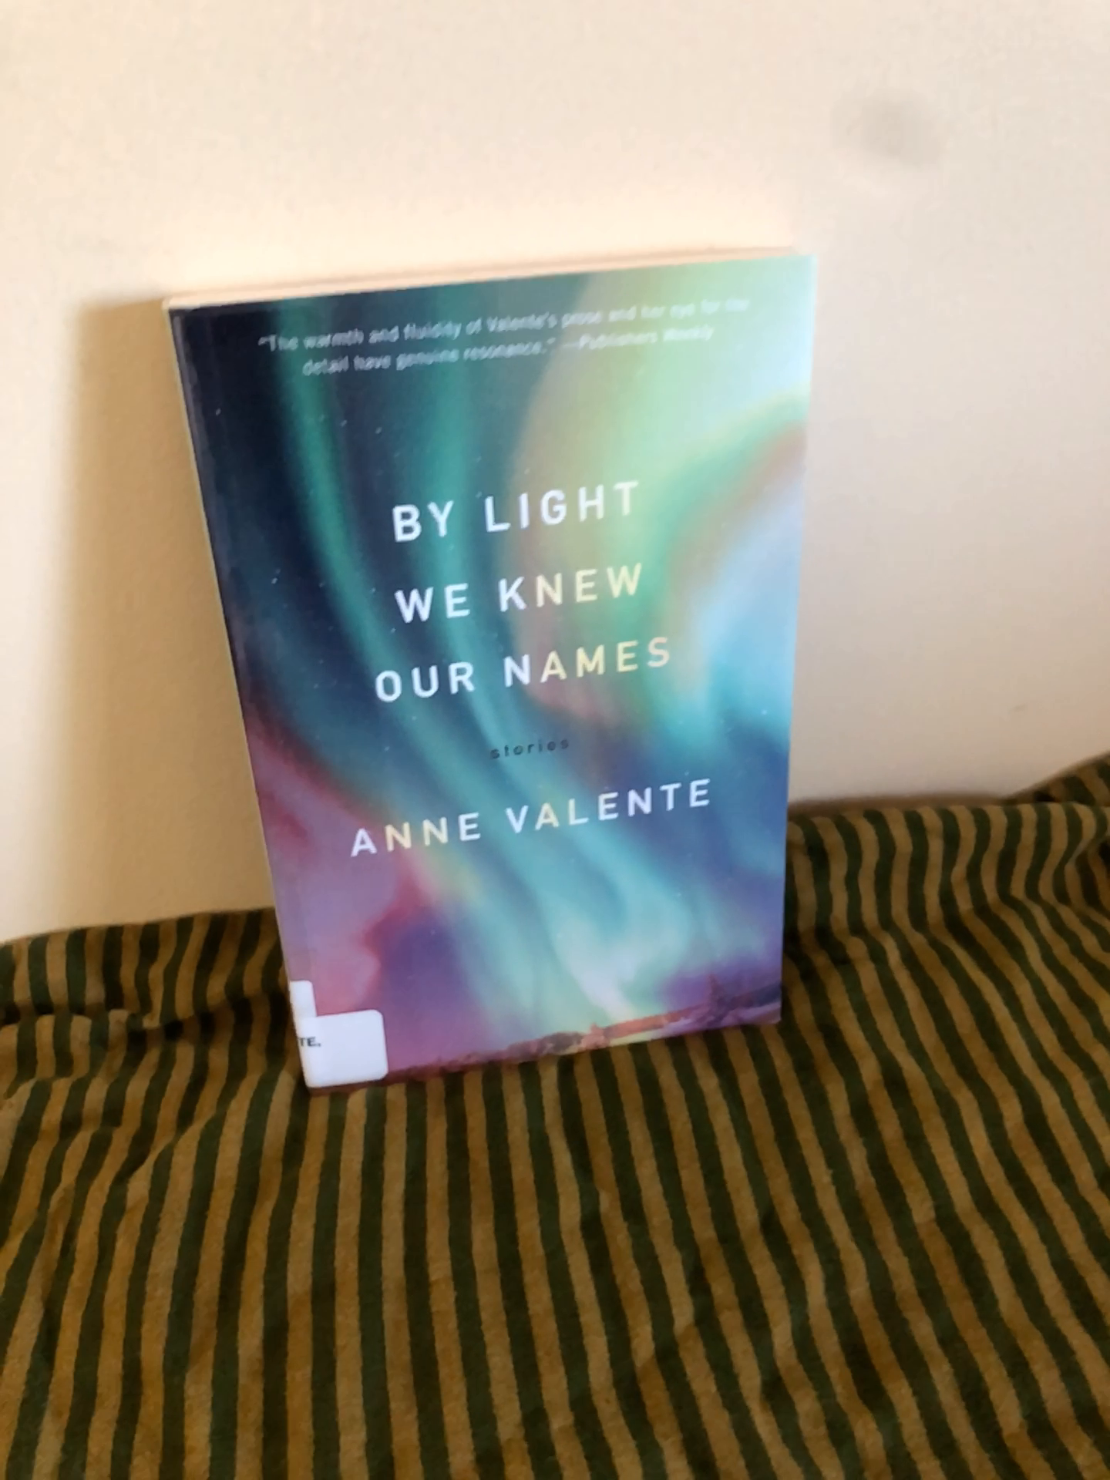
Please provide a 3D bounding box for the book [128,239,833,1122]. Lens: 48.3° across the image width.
[{"bbox_3d":[-0.013,-0.002,0.311,0.142,0.223,0.020,-8,33,-12],"label":"book"}]
